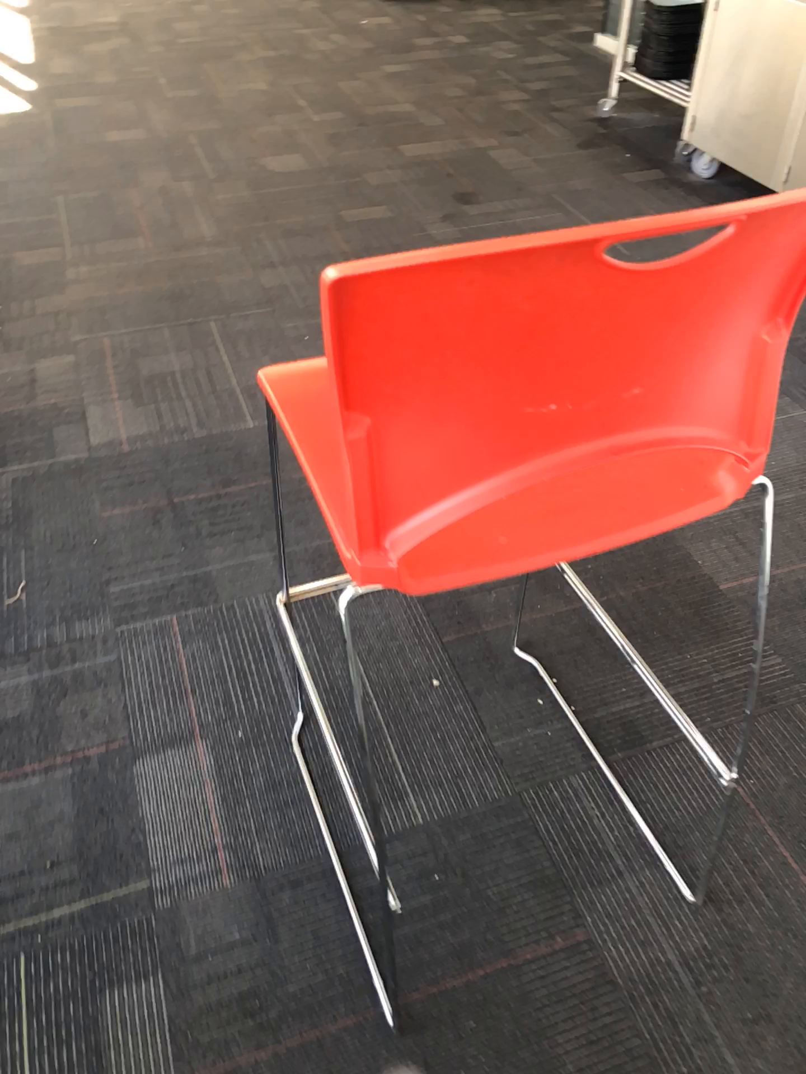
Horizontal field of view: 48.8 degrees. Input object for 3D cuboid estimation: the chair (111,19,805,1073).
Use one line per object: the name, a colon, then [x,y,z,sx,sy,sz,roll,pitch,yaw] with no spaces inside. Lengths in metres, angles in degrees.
chair: [0.108,0.022,1.085,0.590,0.995,0.663,-16,43,-18]
